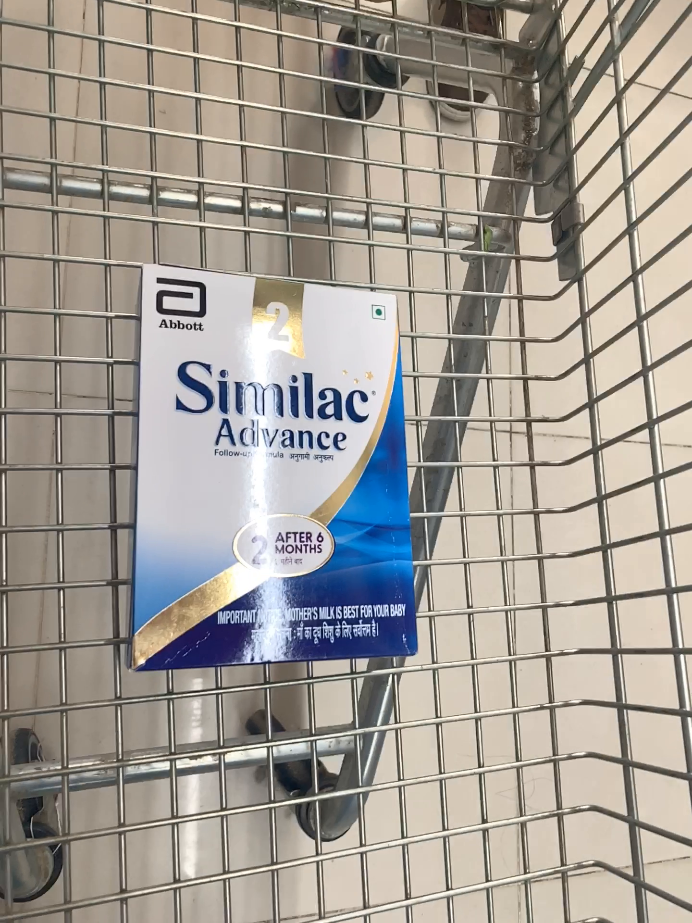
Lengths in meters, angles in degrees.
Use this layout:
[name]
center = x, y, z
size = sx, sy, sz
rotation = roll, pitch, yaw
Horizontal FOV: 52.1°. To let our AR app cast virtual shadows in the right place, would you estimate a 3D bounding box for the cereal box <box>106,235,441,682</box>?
[cereal box]
center = -0.039, 0.001, 0.360
size = 0.150, 0.060, 0.200
rotation = 2, 77, -19
